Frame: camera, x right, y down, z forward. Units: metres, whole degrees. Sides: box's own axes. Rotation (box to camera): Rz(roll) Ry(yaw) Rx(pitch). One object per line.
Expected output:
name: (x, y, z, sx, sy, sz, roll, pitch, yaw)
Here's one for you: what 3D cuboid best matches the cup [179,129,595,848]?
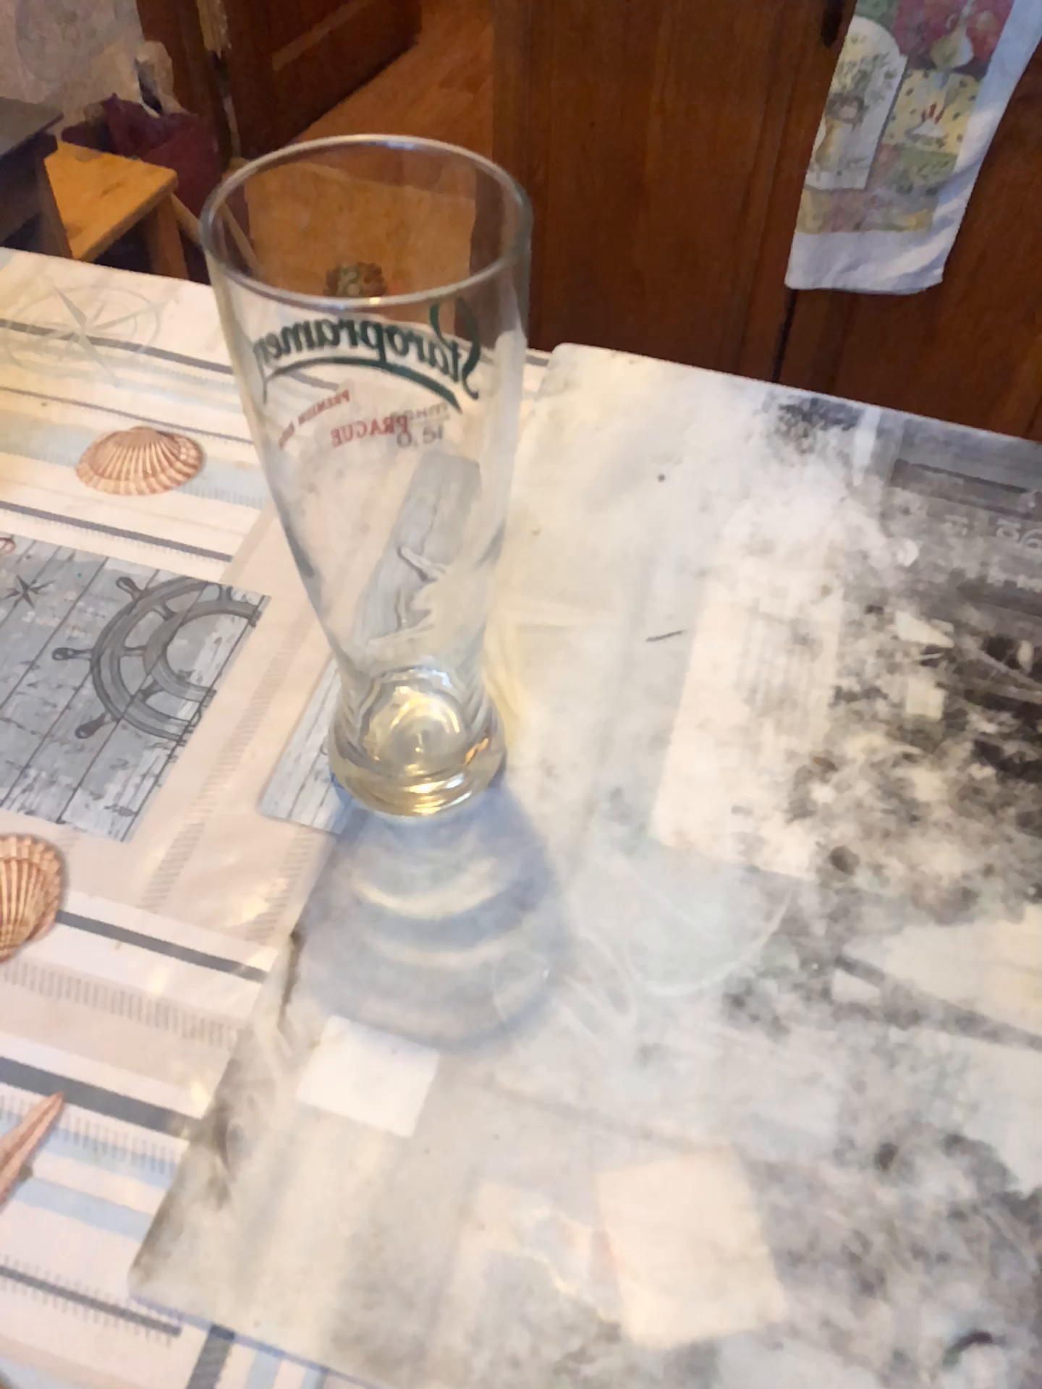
cup: (-0.036, -0.051, 0.349, 0.088, 0.192, 0.099, -5, 51, -6)
